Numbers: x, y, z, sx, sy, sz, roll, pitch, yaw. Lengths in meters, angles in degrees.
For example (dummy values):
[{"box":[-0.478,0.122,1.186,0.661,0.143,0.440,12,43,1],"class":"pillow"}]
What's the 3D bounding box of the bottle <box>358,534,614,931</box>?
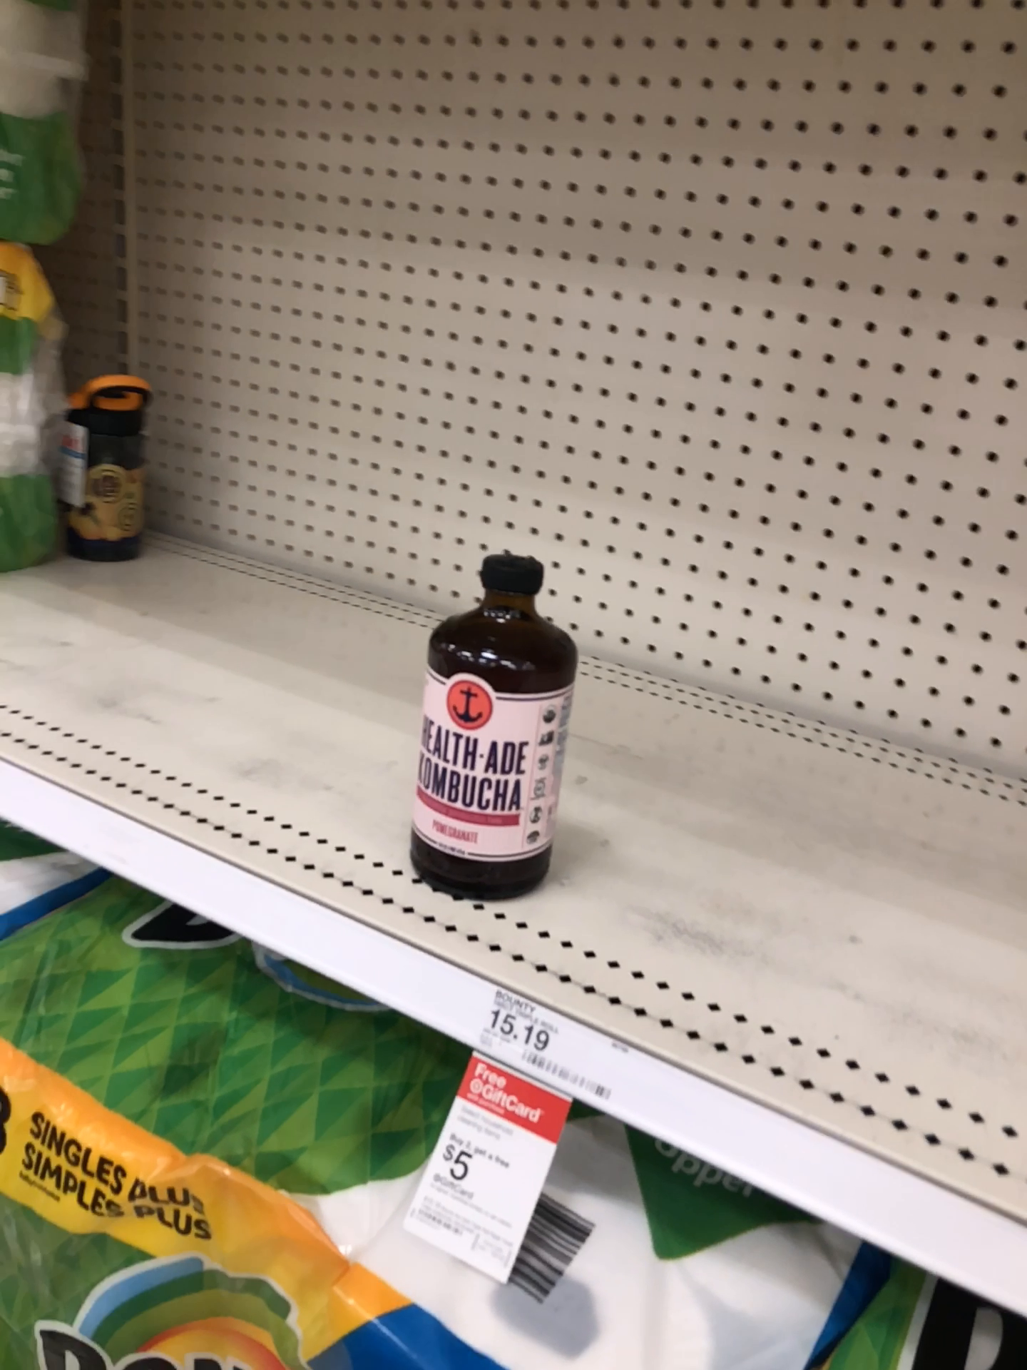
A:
[{"box":[-0.015,0.020,0.583,0.086,0.169,0.090,5,20,-2],"class":"bottle"}]
